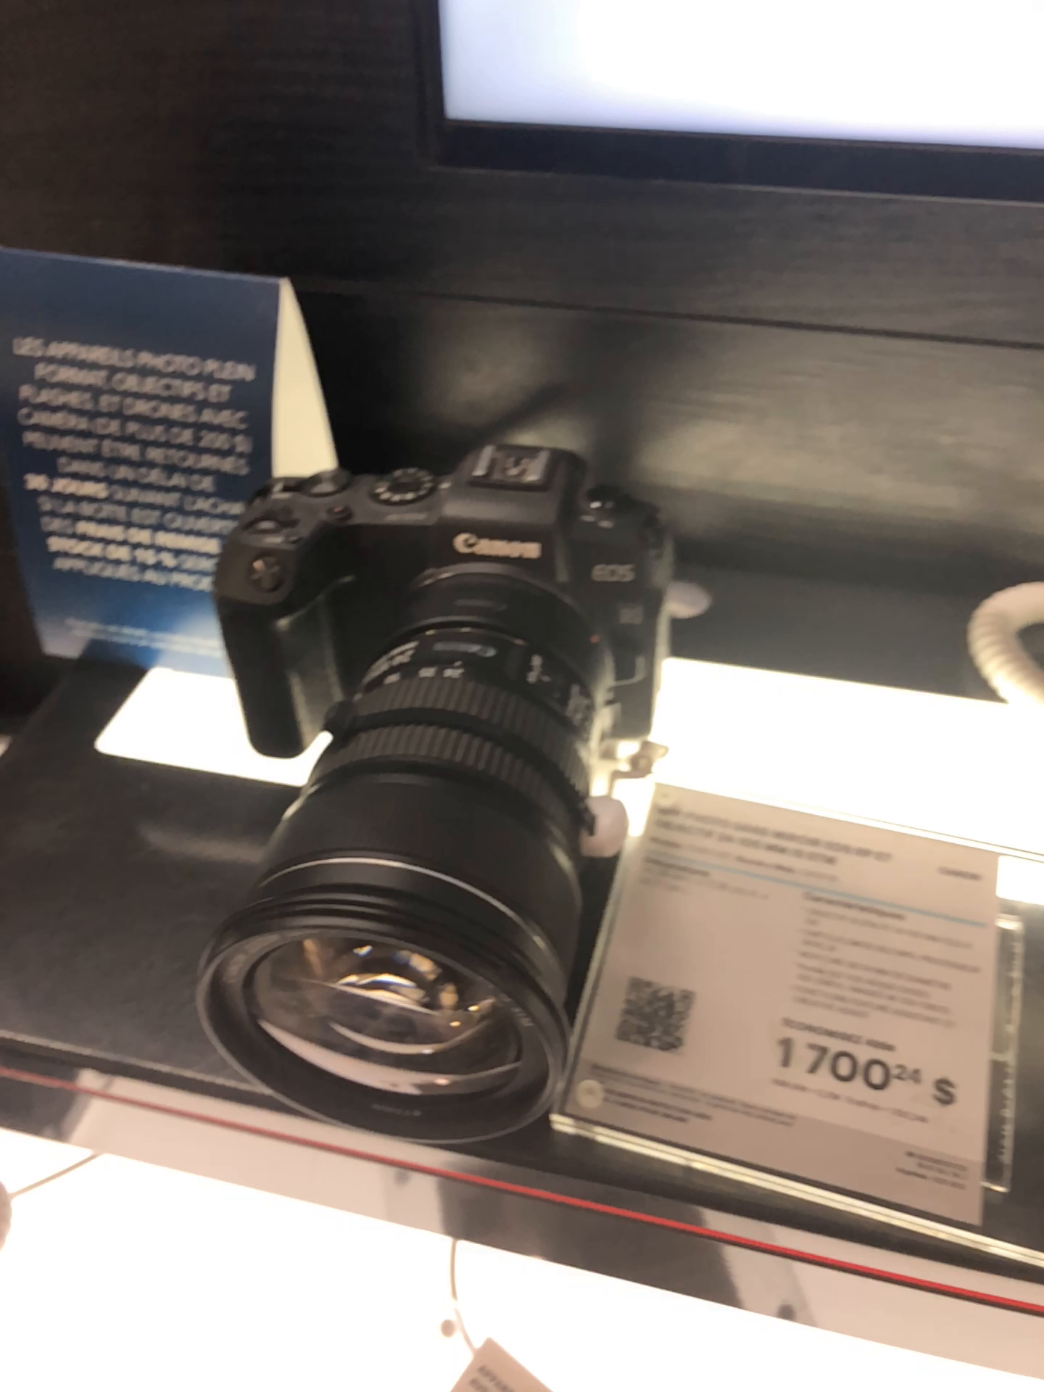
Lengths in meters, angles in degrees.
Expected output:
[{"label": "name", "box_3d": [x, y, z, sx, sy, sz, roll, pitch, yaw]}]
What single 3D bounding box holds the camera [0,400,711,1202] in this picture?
[{"label": "camera", "box_3d": [-0.025, 0.010, 0.304, 0.128, 0.099, 0.178, 6, 38, 9]}]
